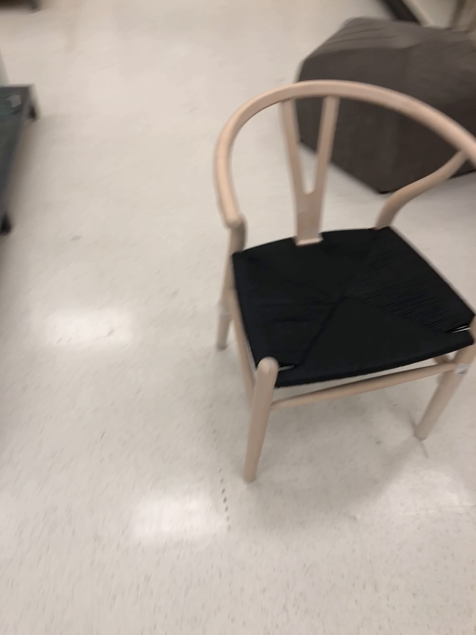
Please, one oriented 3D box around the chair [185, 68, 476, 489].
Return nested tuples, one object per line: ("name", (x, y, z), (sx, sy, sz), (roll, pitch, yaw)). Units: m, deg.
("chair", (0.219, -0.070, 1.228), (0.559, 0.728, 0.557), (-10, 51, -11))
